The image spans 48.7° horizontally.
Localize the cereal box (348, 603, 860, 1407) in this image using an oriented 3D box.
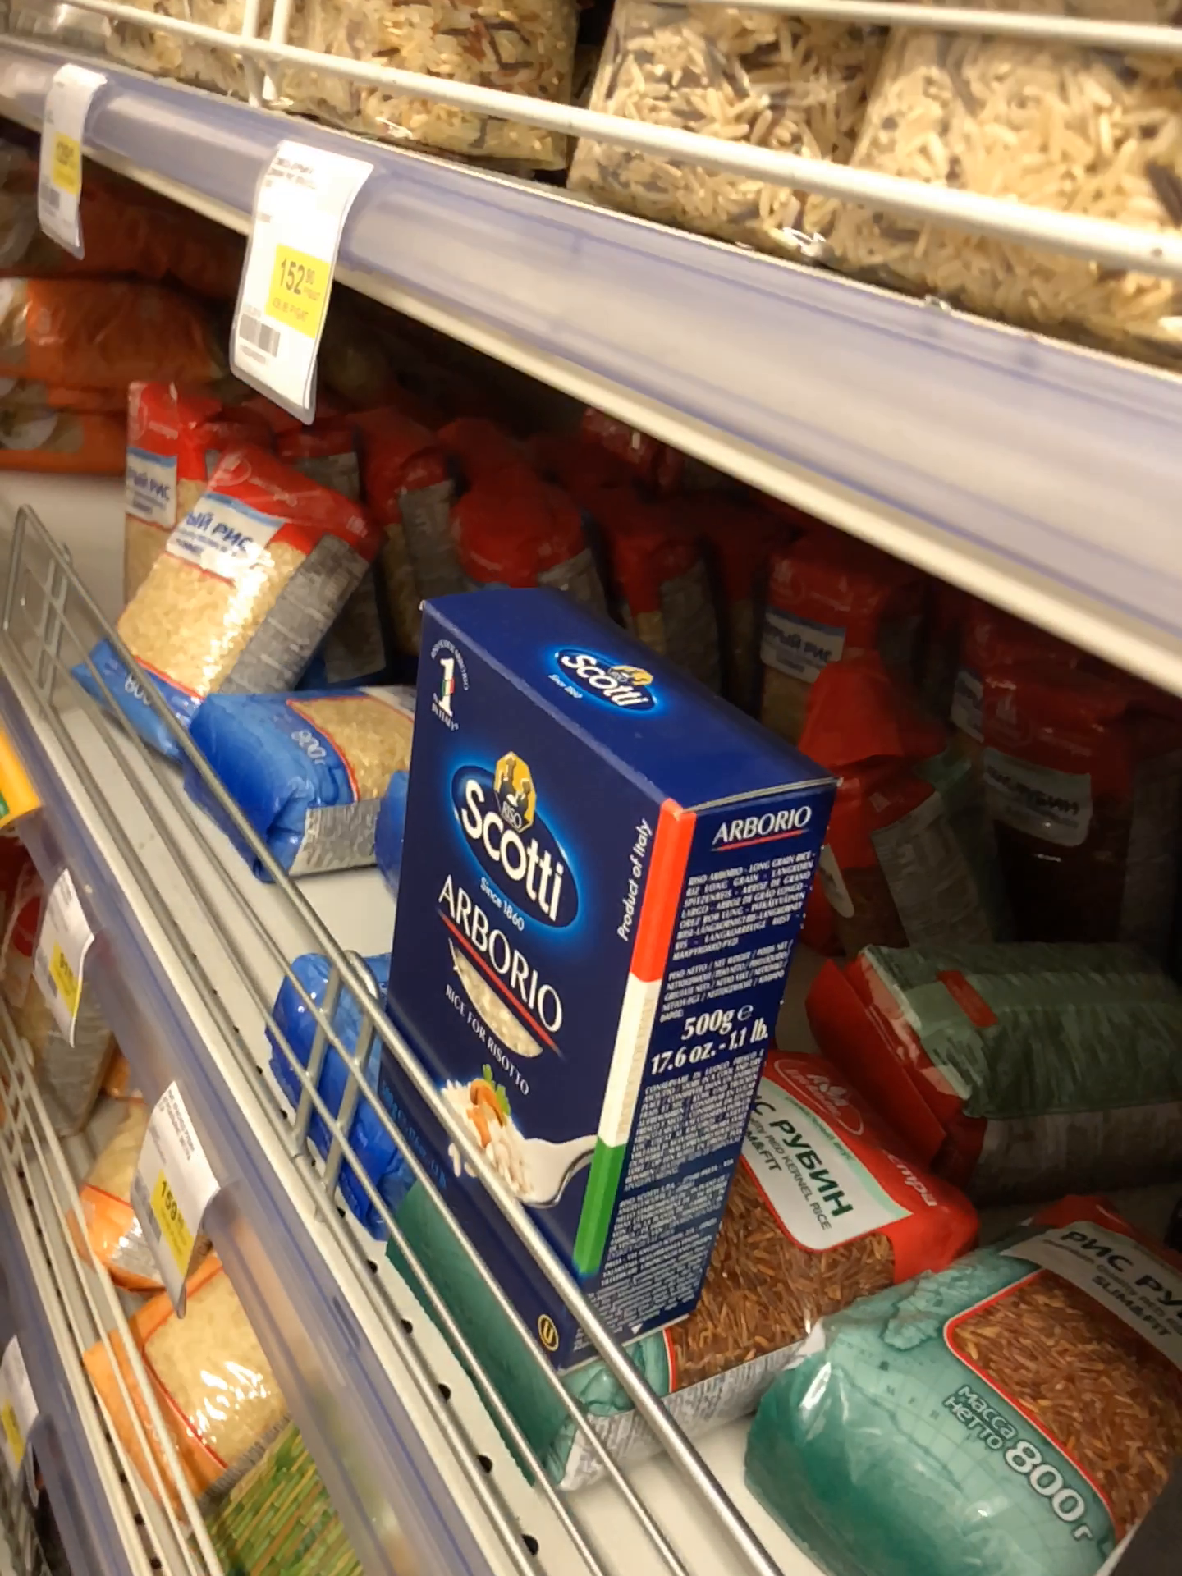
[{"bbox_3d":[-0.008,0.049,0.331,0.050,0.159,0.110,-8,31,-34],"label":"cereal box"}]
